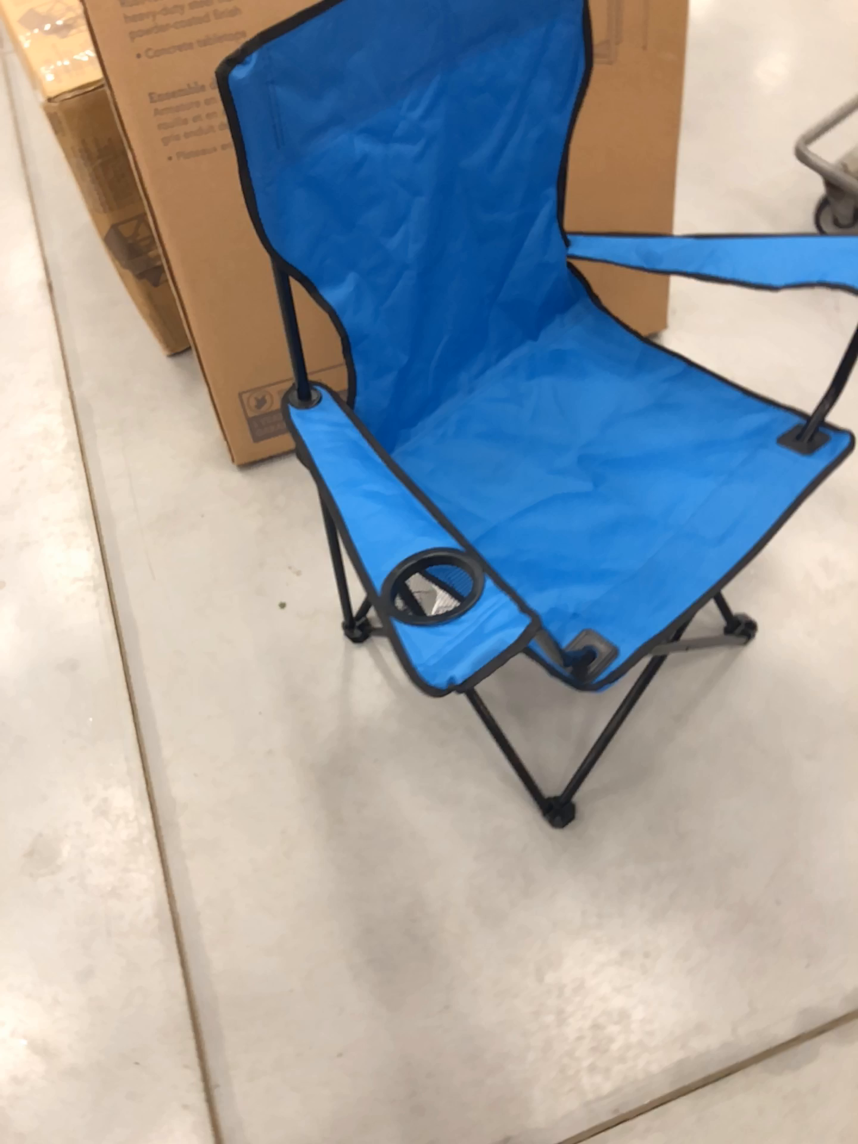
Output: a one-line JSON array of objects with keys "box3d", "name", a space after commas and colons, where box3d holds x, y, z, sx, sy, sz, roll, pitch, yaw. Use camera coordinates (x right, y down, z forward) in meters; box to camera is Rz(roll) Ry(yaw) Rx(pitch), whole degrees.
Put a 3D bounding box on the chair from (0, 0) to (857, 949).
[{"box3d": [0.134, -0.179, 1.138, 0.791, 0.838, 0.621, -39, 61, -22], "name": "chair"}]
